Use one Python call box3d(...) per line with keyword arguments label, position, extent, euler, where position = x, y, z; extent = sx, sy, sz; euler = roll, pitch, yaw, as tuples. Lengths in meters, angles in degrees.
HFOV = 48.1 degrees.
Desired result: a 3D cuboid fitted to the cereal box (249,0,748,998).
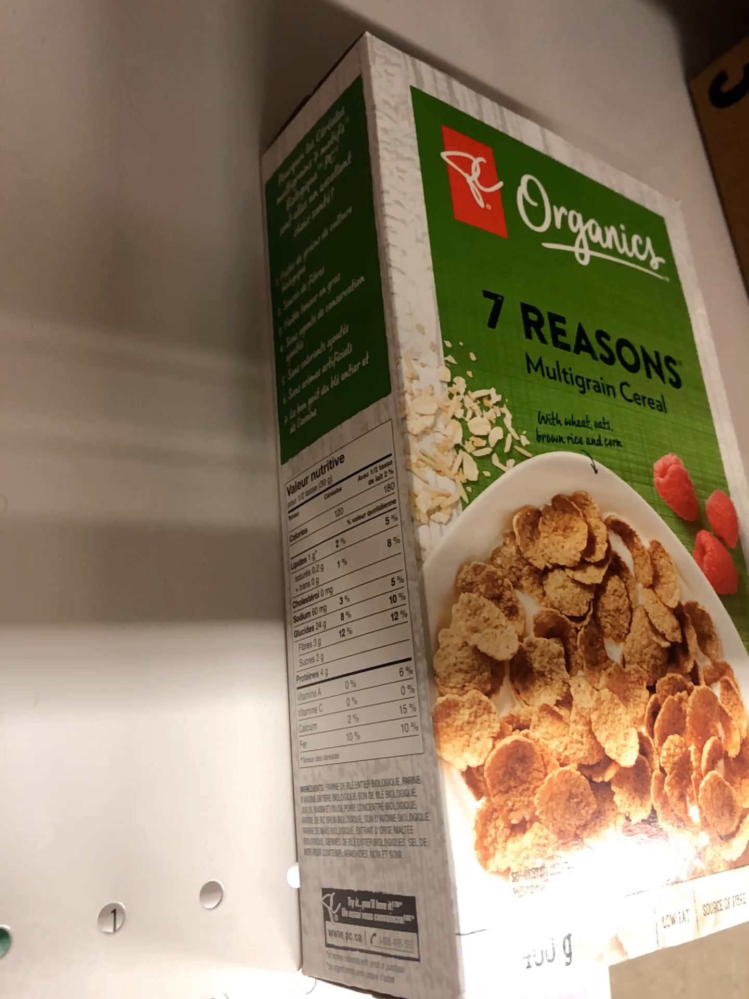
box3d(label="cereal box", position=(0.060, 0.000, 0.265), extent=(0.181, 0.060, 0.260), euler=(9, 66, -36))
